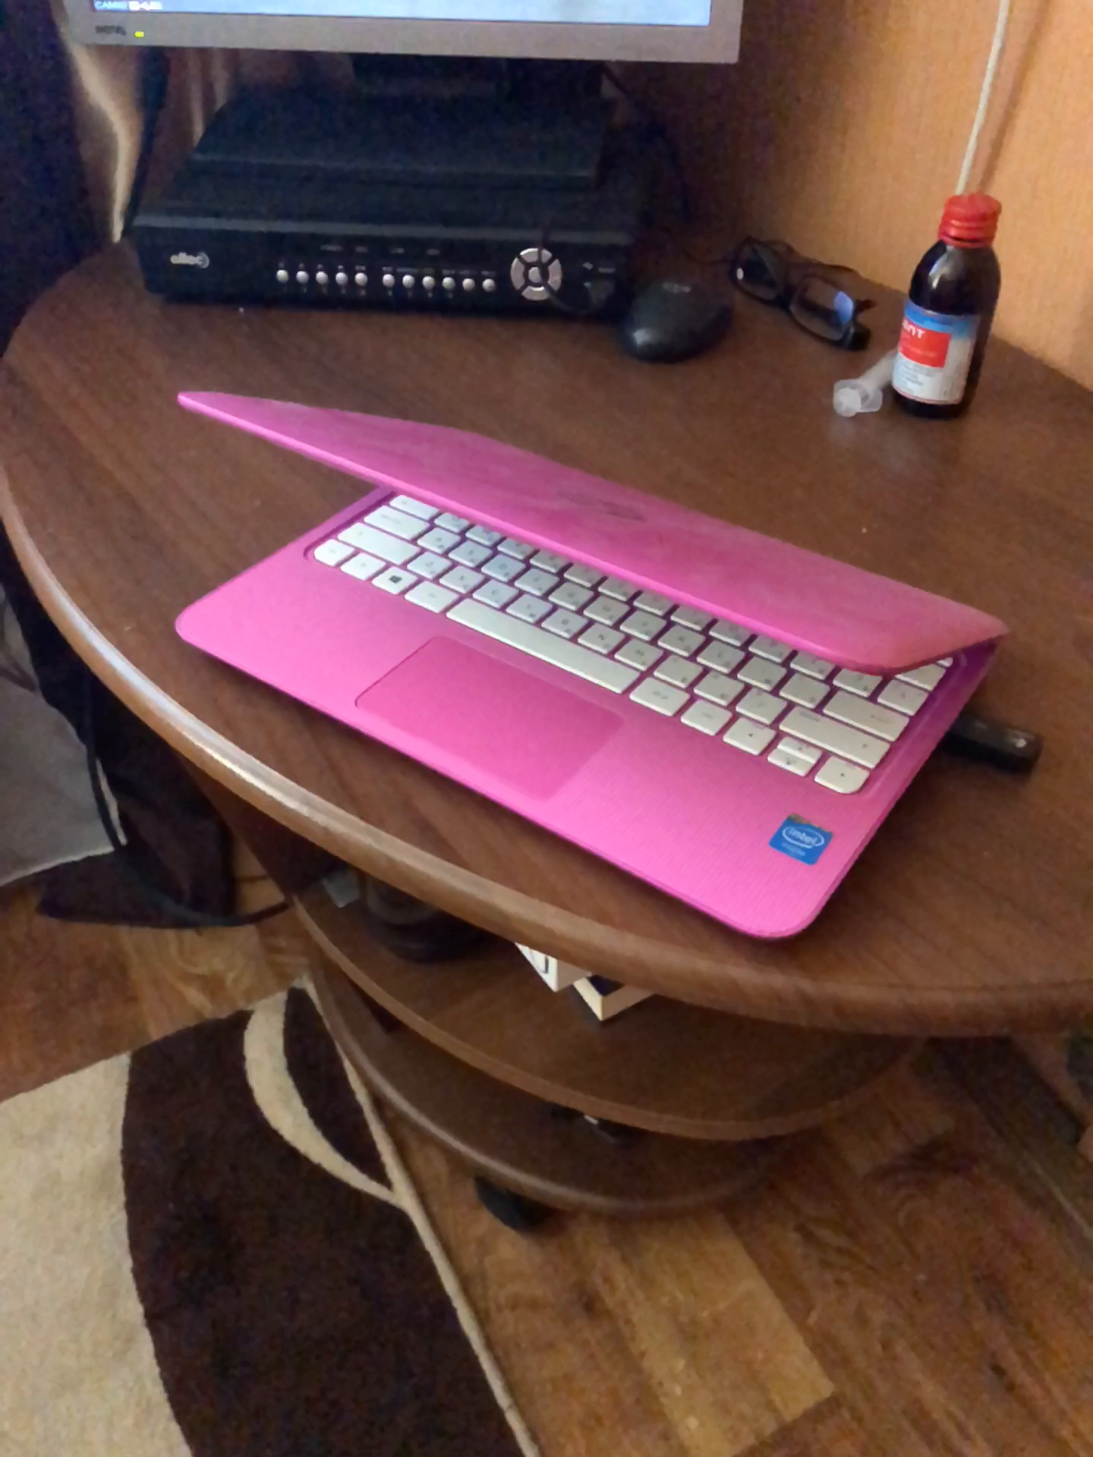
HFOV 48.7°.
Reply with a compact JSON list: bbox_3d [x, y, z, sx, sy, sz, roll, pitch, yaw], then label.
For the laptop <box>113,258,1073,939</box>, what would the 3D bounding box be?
[{"bbox_3d":[0.015,-0.072,0.432,0.264,0.081,0.187,25,47,26],"label":"laptop"}]
